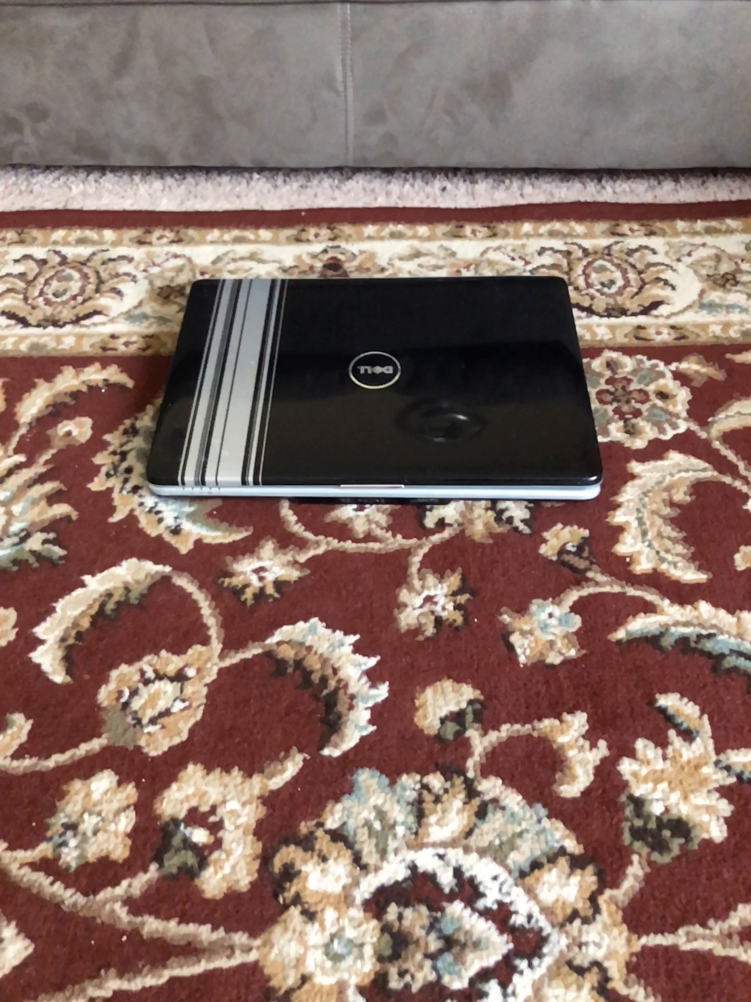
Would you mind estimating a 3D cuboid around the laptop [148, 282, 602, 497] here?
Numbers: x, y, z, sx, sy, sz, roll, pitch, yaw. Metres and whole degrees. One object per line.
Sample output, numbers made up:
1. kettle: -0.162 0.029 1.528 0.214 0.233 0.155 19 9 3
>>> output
1. laptop: 0.001 -0.106 0.719 0.351 0.015 0.242 1 53 2
